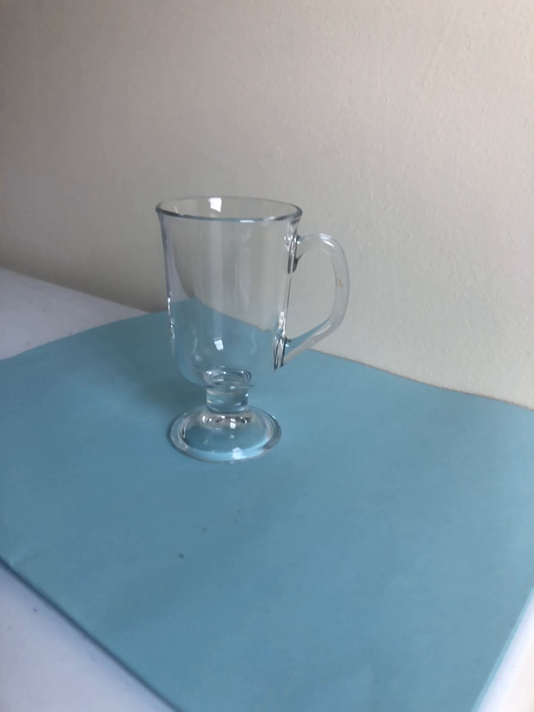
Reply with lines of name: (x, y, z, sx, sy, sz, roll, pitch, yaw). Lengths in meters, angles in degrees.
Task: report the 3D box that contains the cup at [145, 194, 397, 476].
cup: (0.000, -0.013, 0.290, 0.100, 0.119, 0.070, 1, 22, -1)
